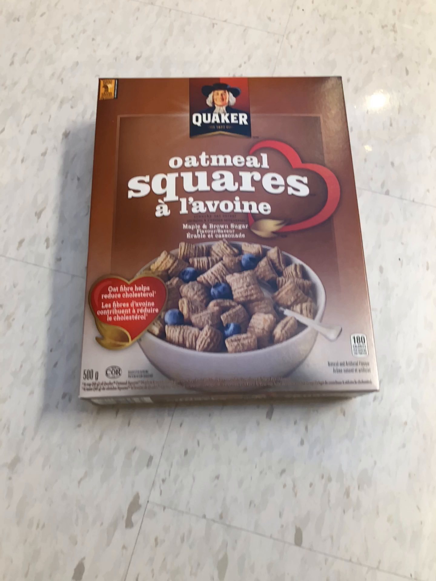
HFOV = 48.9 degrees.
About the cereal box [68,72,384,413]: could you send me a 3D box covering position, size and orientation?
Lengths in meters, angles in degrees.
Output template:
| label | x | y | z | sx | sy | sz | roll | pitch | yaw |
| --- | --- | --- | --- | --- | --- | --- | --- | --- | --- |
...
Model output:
| label | x | y | z | sx | sy | sz | roll | pitch | yaw |
| --- | --- | --- | --- | --- | --- | --- | --- | --- | --- |
| cereal box | 0.002 | -0.044 | 0.394 | 0.210 | 0.070 | 0.271 | -1 | 72 | -2 |
